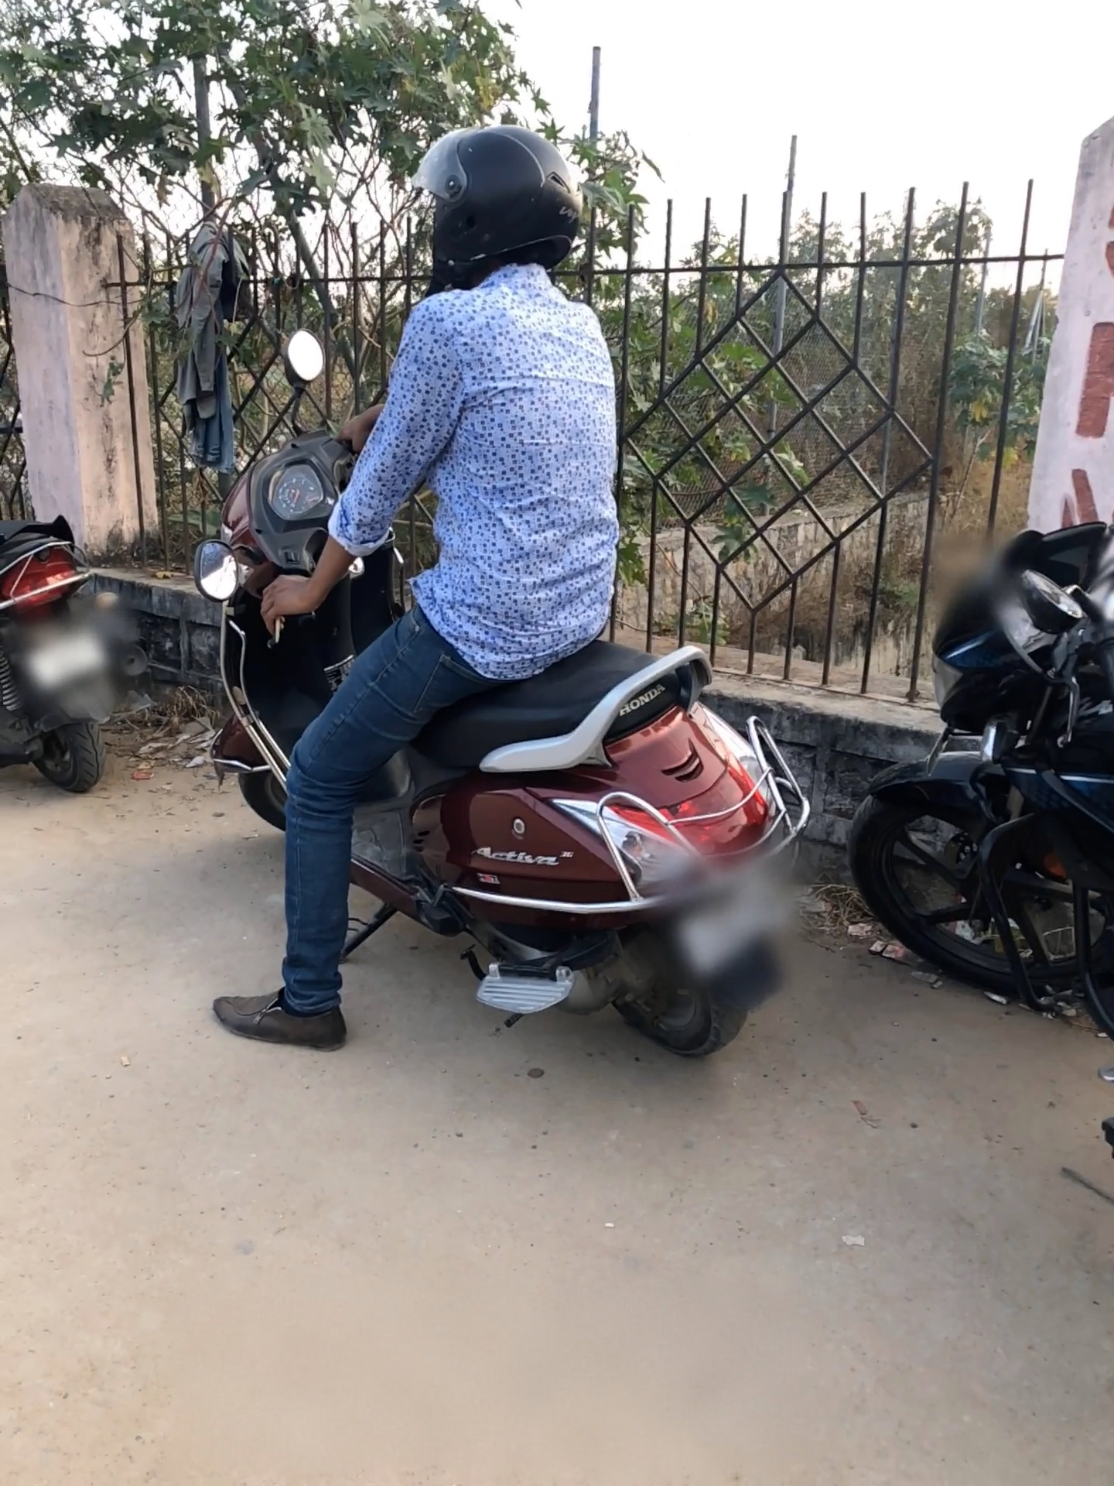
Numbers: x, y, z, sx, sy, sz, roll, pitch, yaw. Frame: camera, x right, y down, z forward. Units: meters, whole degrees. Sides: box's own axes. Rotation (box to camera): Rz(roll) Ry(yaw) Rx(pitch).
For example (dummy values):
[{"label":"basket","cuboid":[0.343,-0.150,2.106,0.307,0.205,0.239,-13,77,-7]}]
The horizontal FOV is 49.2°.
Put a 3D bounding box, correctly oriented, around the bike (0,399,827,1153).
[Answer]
[{"label":"bike","cuboid":[-0.371,-0.094,2.293,1.490,0.964,0.578,17,23,38]}]
